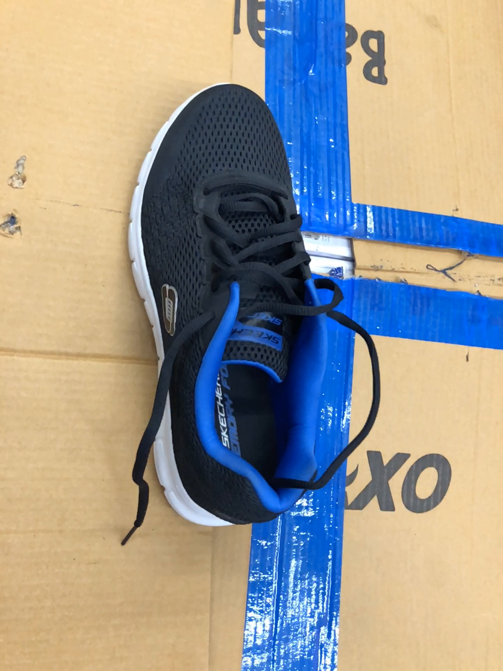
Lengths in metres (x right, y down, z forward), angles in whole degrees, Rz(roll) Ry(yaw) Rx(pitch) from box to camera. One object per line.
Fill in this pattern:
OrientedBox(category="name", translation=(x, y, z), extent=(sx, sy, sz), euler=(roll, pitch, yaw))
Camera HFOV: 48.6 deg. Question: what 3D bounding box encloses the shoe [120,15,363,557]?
OrientedBox(category="shoe", translation=(-0.016, -0.022, 0.348), extent=(0.110, 0.130, 0.270), euler=(3, 81, -18))
